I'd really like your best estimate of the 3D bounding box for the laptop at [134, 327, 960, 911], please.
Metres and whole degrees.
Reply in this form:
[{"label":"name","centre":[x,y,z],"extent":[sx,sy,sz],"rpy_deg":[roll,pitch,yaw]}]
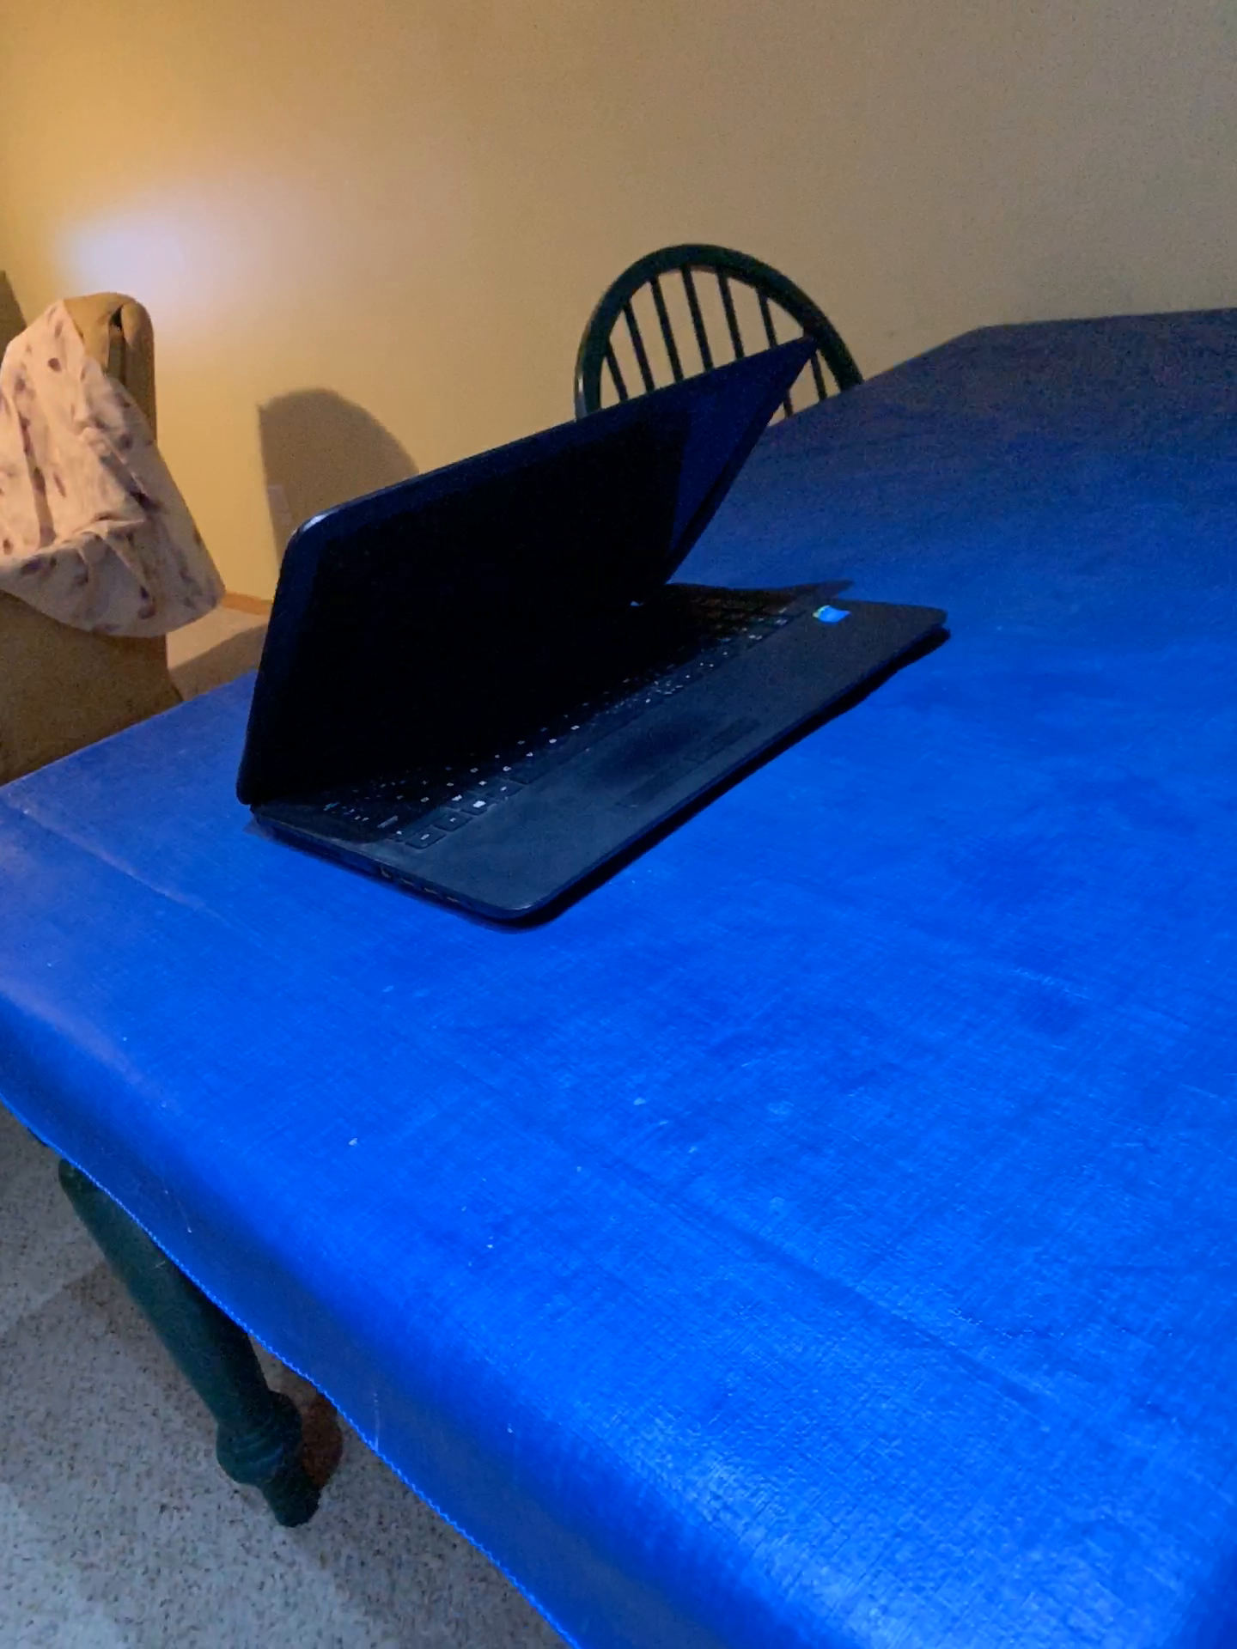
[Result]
[{"label":"laptop","centre":[-0.023,-0.145,0.726],"extent":[0.252,0.167,0.372],"rpy_deg":[16,39,44]}]
